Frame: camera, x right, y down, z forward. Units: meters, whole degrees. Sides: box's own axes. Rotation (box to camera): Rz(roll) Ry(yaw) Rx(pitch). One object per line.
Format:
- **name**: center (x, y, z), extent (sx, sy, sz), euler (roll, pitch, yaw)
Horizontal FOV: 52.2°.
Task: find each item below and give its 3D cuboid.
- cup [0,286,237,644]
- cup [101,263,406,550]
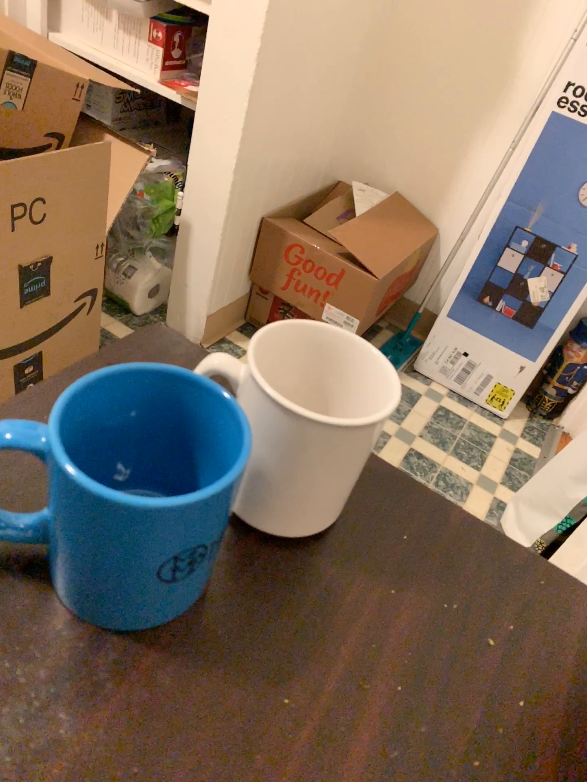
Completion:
- **cup**: center (-0.104, 0.035, 0.258), extent (0.140, 0.099, 0.091), euler (10, 39, -11)
- **cup**: center (-0.025, 0.010, 0.326), extent (0.130, 0.099, 0.091), euler (11, 39, -10)
